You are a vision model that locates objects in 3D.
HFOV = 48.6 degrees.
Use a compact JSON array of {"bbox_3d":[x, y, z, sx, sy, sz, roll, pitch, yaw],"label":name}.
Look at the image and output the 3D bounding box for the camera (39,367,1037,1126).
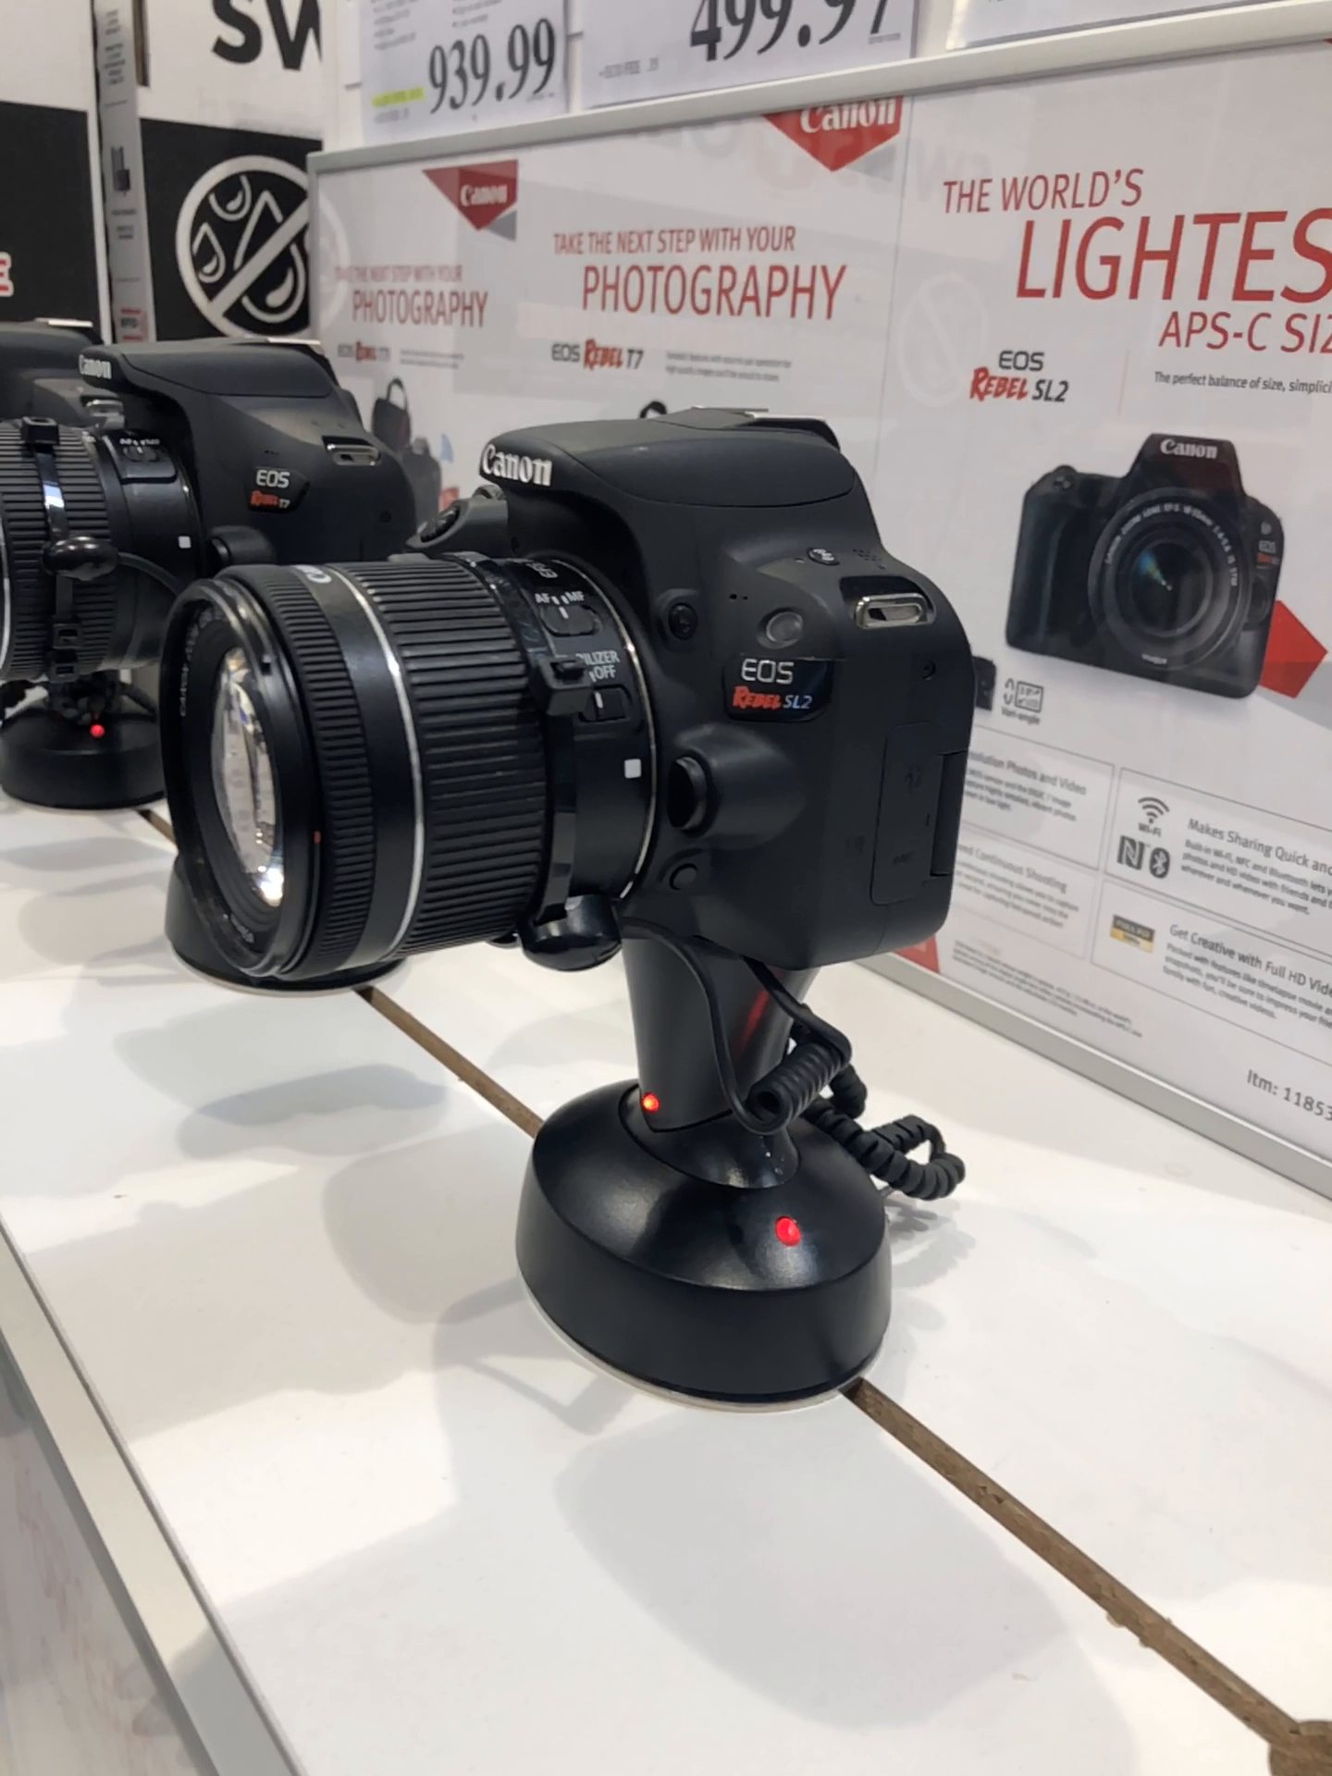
[{"bbox_3d":[-0.031,-0.040,0.262,0.120,0.090,0.131,-9,23,-32],"label":"camera"}]
